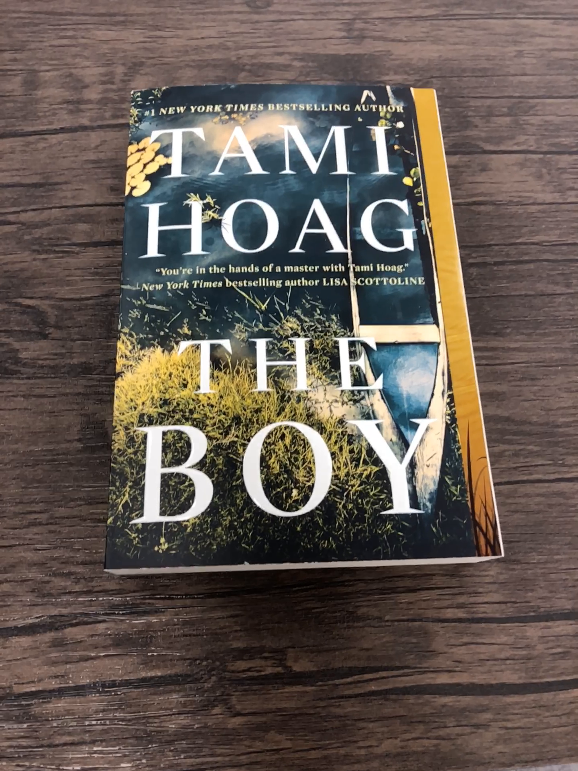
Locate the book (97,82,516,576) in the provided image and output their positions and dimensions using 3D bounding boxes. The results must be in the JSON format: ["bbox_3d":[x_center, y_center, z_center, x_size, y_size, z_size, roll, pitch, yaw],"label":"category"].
[{"bbox_3d":[0.003,-0.031,0.263,0.139,0.032,0.203,-2,70,-1],"label":"book"}]
